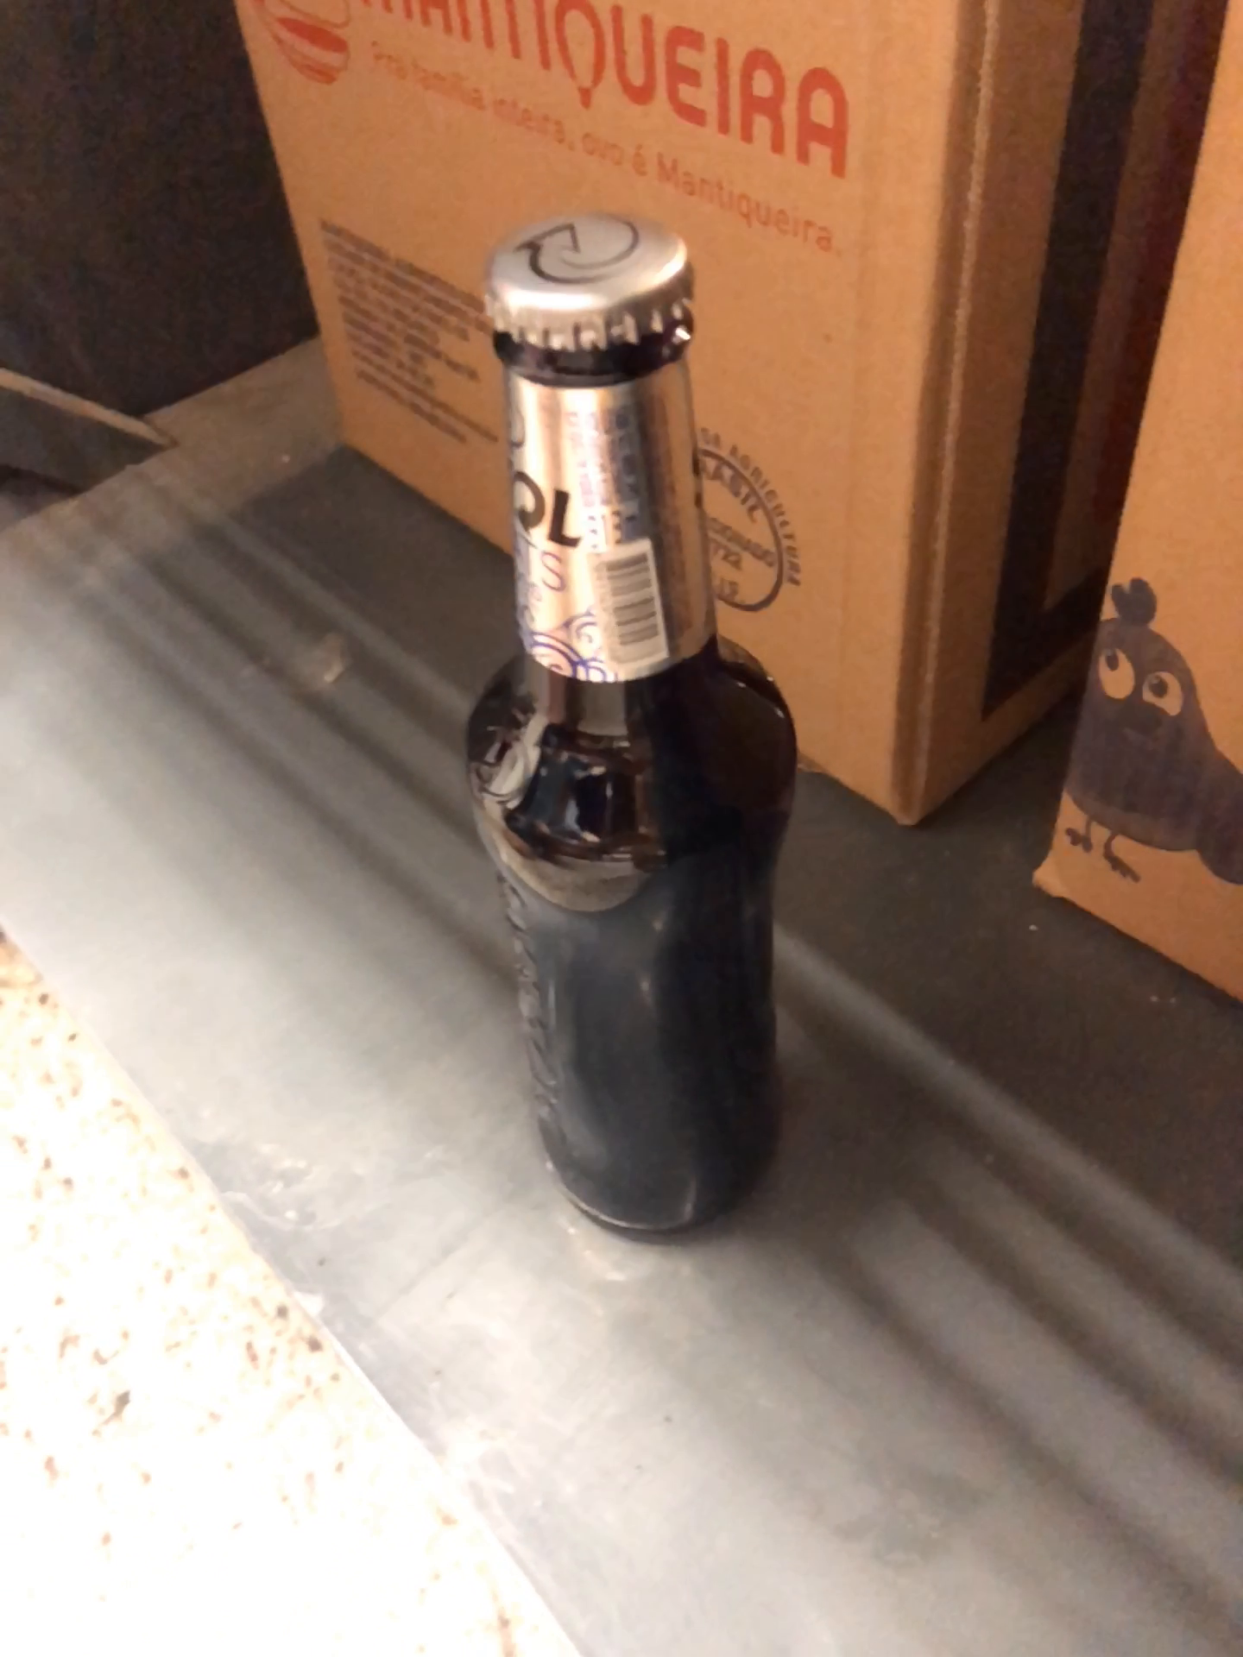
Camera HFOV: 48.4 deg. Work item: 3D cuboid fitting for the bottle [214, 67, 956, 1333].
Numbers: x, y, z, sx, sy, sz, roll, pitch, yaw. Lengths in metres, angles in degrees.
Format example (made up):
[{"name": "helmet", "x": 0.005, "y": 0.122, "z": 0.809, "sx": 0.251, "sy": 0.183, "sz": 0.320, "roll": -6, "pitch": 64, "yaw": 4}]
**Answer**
[{"name": "bottle", "x": 0.004, "y": -0.001, "z": 0.268, "sx": 0.070, "sy": 0.238, "sz": 0.070, "roll": -4, "pitch": 46, "yaw": 4}]
